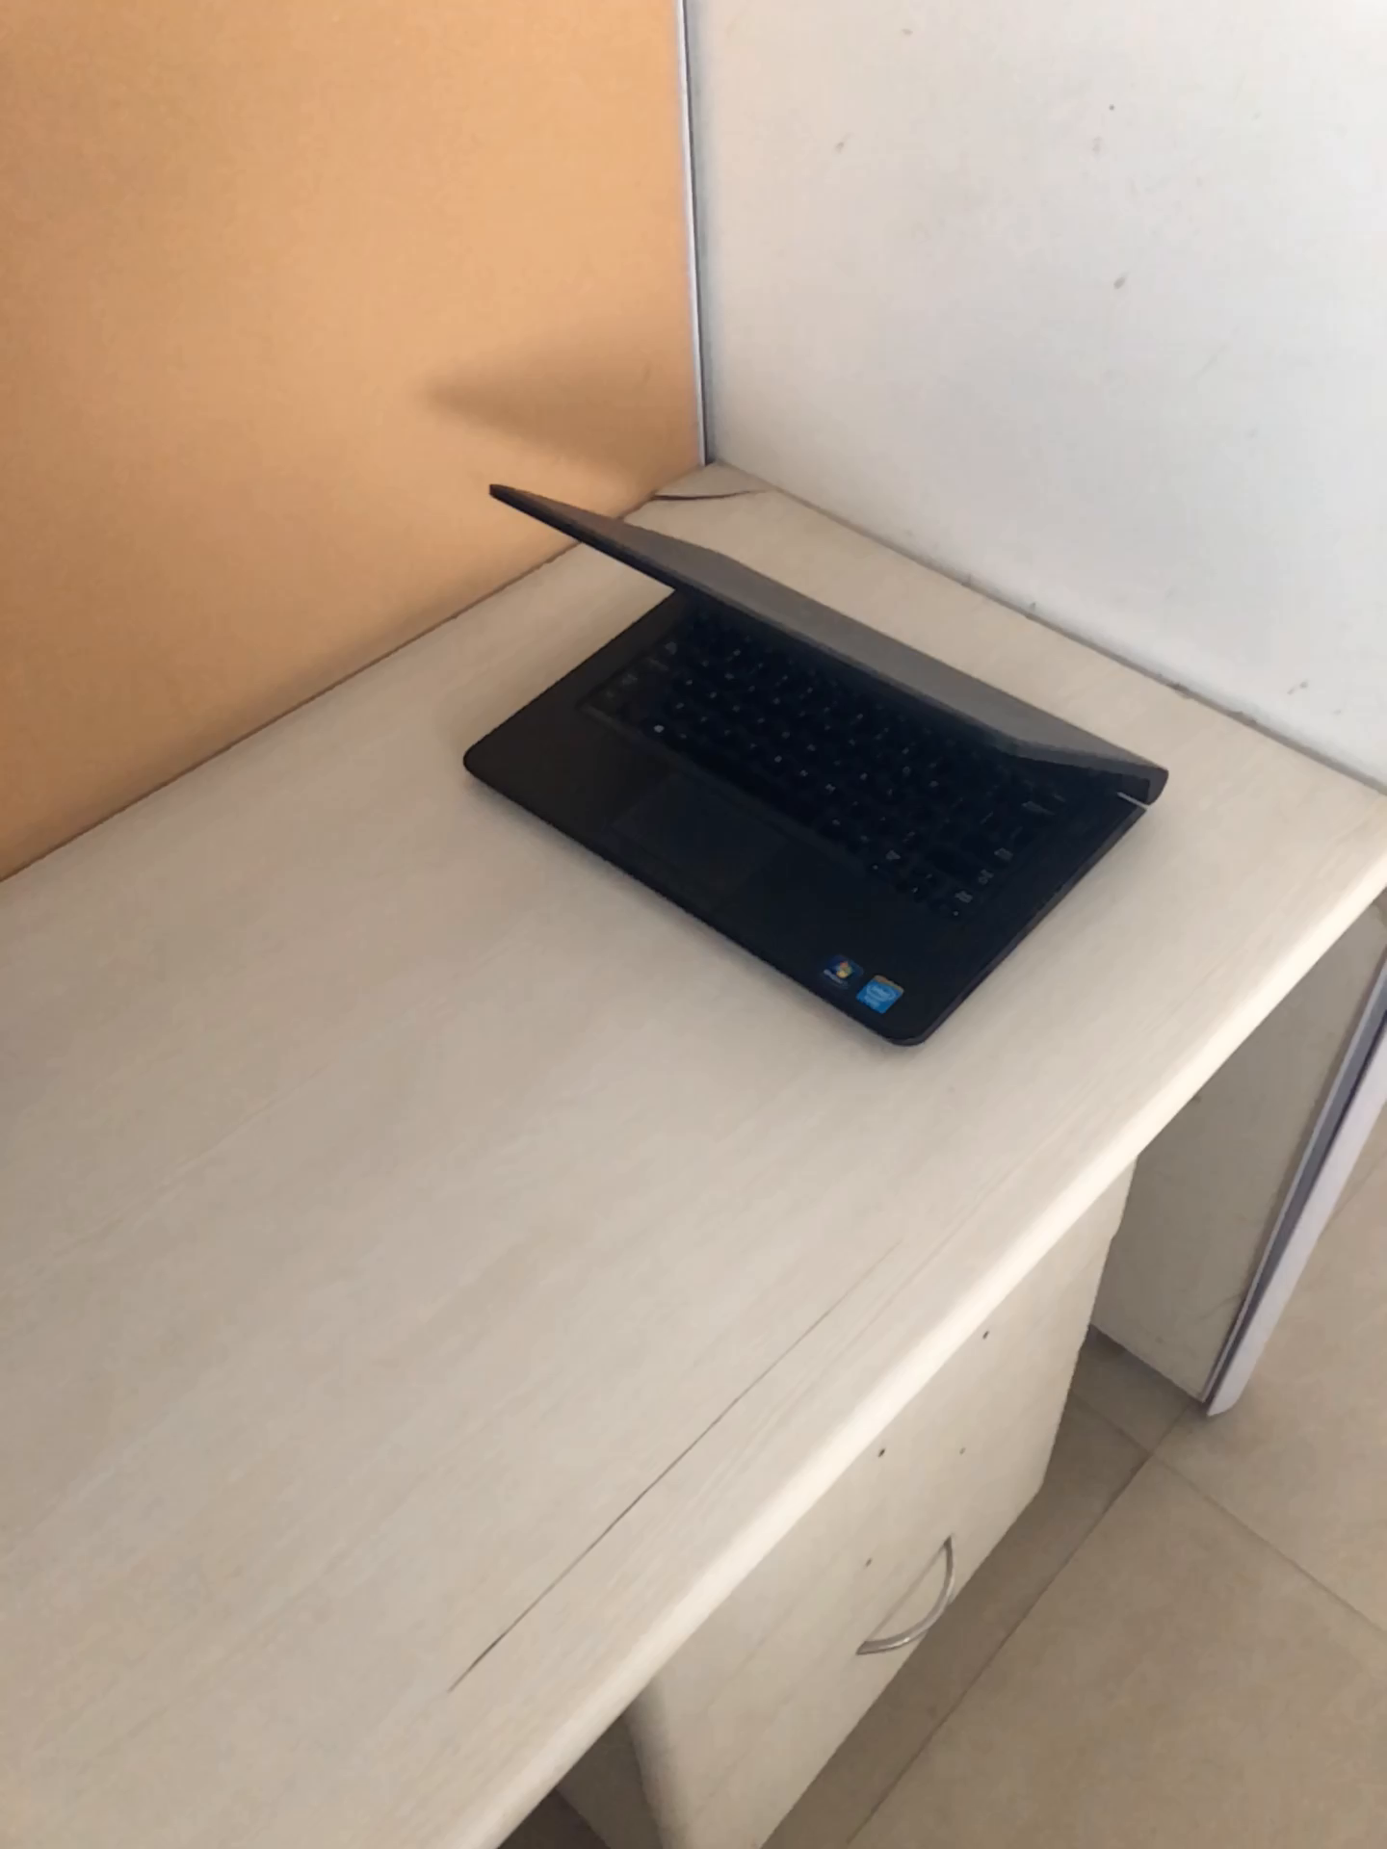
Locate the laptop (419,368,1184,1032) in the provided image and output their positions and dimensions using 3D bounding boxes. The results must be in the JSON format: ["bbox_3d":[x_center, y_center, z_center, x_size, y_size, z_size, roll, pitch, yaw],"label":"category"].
[{"bbox_3d":[0.052,-0.136,0.816,0.318,0.154,0.216,32,56,29],"label":"laptop"}]
